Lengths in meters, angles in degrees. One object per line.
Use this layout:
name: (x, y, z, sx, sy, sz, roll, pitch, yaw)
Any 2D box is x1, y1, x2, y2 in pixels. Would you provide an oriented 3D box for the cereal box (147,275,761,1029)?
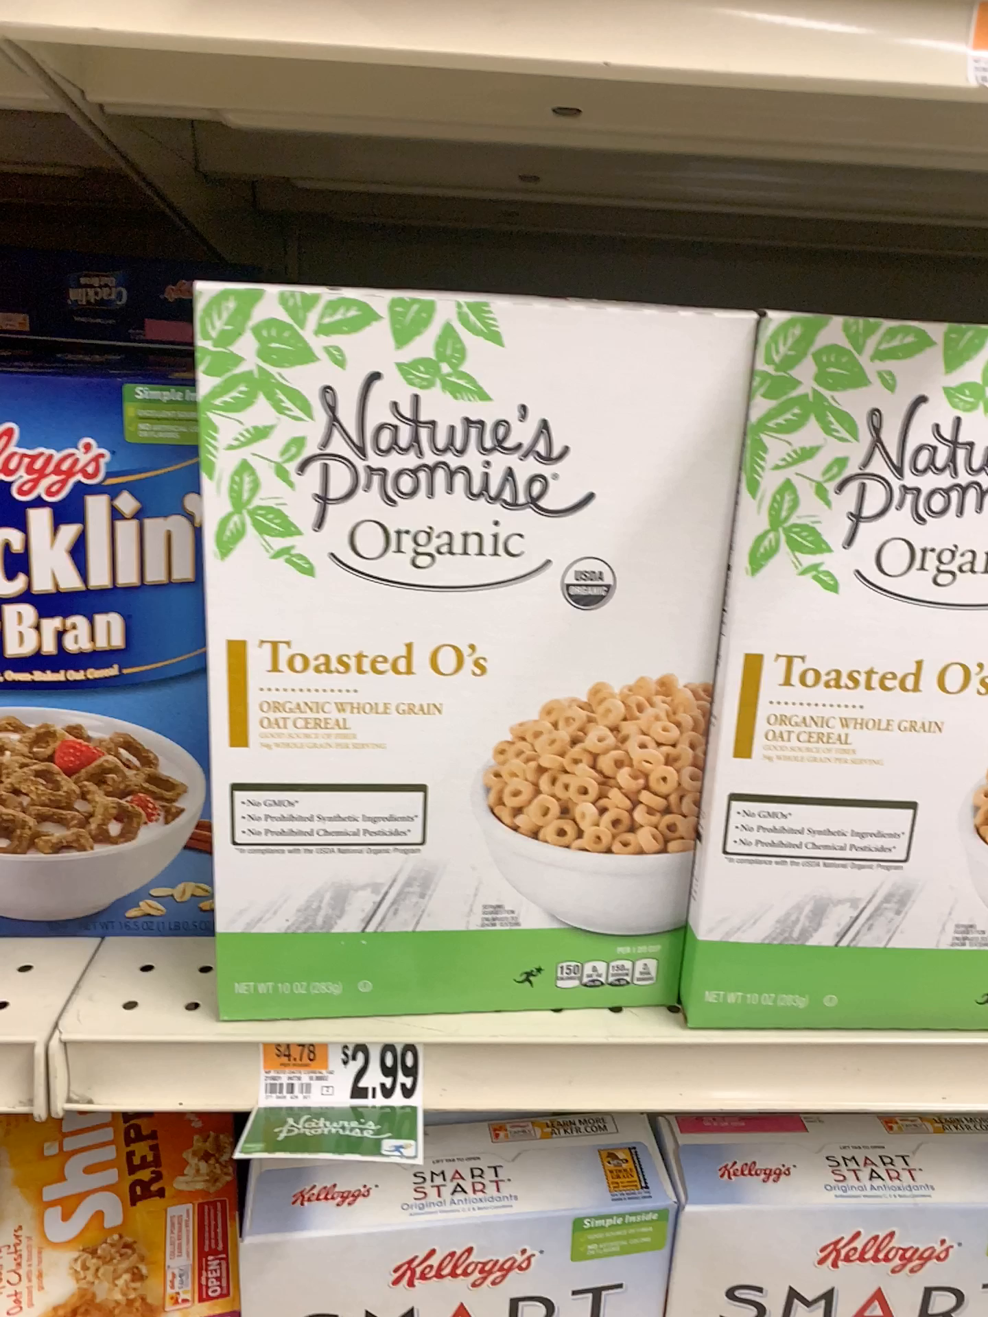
cereal box: (-0.019, 0.003, 0.388, 0.190, 0.269, 0.070, 0, 18, -7)
